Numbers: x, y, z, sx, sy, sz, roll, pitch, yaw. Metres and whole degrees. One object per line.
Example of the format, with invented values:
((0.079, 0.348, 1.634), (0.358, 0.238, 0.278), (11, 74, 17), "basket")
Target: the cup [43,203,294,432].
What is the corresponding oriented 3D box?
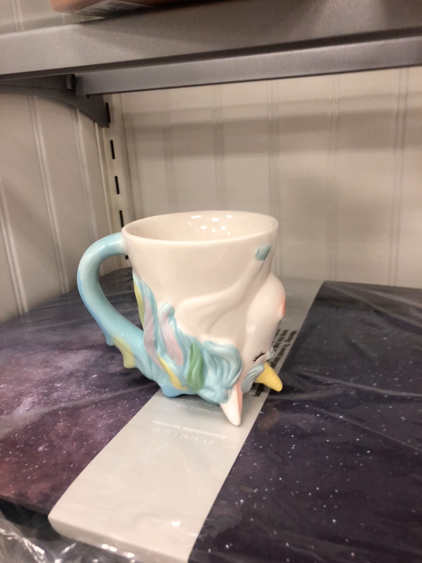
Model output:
((-0.015, 0.017, 0.319), (0.140, 0.118, 0.101), (0, 19, 11), "cup")
